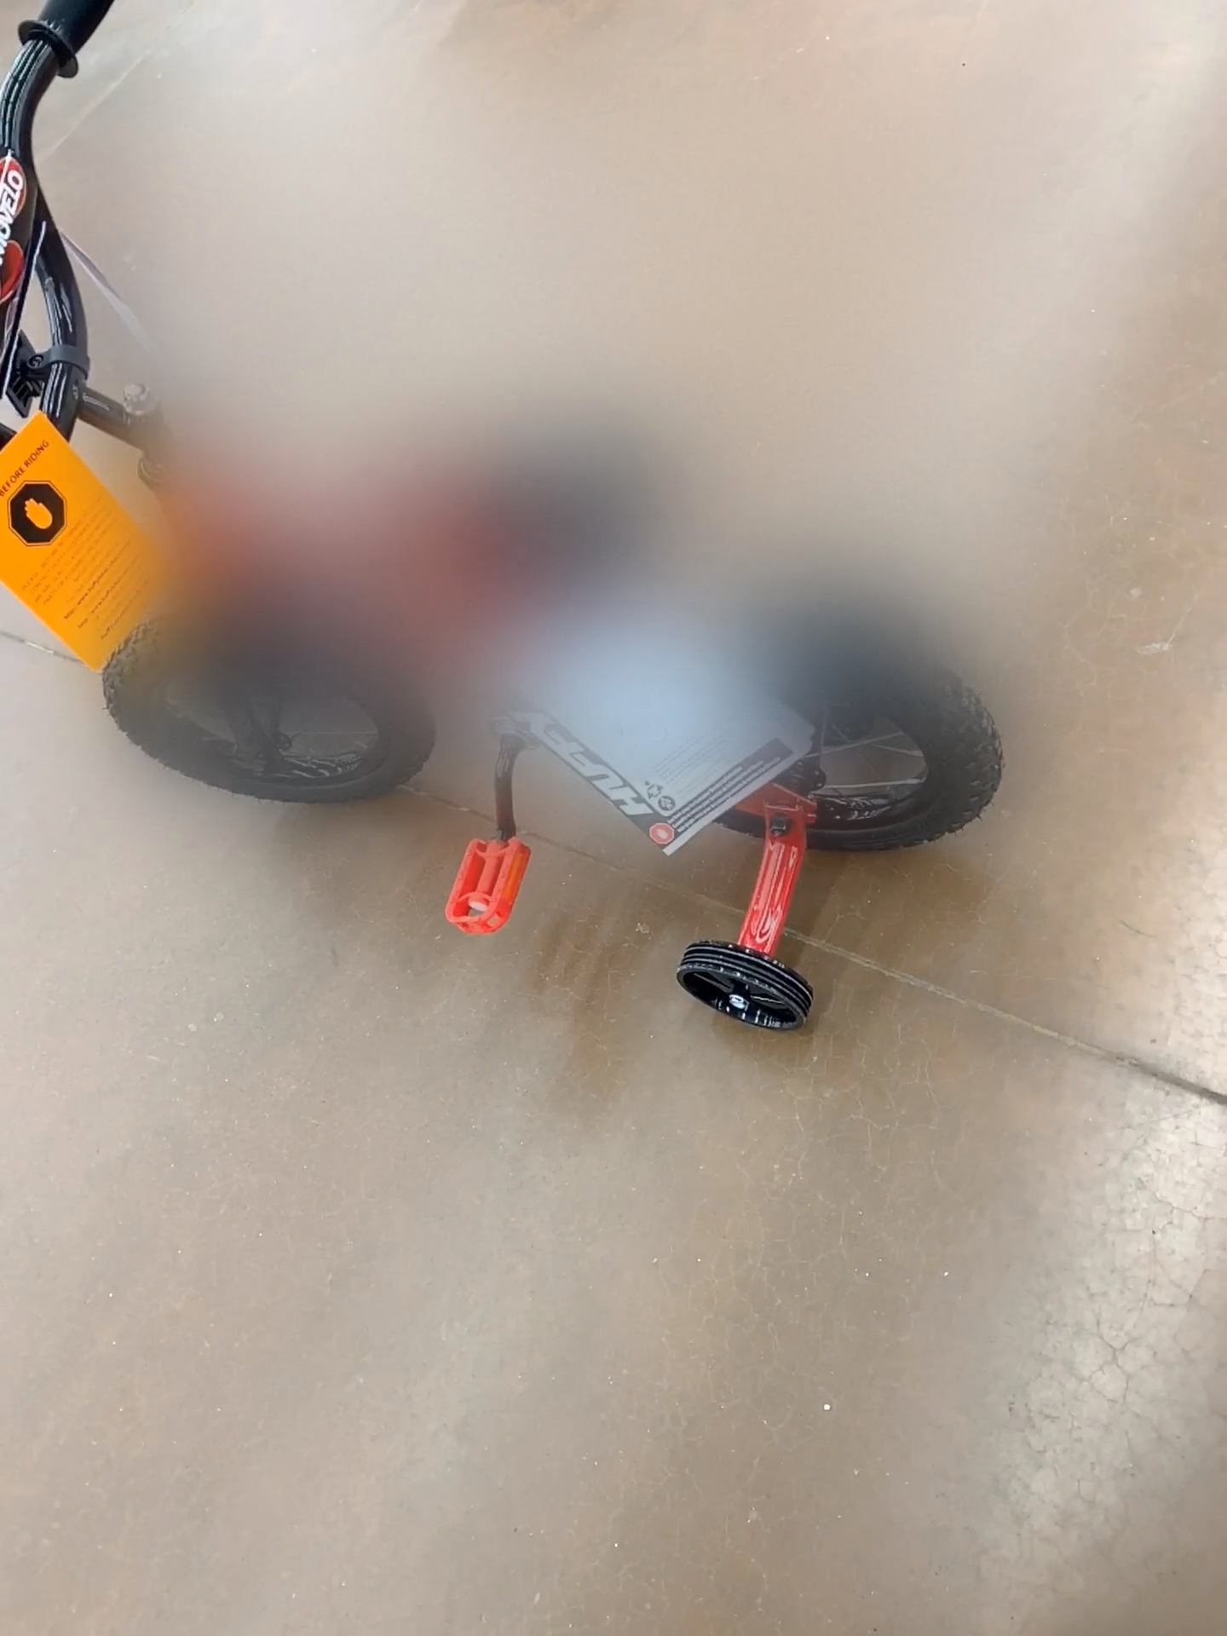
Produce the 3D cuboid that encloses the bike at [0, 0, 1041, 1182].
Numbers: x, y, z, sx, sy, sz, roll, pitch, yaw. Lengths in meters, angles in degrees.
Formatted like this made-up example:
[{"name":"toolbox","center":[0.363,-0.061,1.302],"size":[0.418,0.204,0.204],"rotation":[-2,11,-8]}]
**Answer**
[{"name":"bike","center":[-0.148,-0.138,0.767],"size":[0.705,0.627,0.458],"rotation":[4,61,18]}]
